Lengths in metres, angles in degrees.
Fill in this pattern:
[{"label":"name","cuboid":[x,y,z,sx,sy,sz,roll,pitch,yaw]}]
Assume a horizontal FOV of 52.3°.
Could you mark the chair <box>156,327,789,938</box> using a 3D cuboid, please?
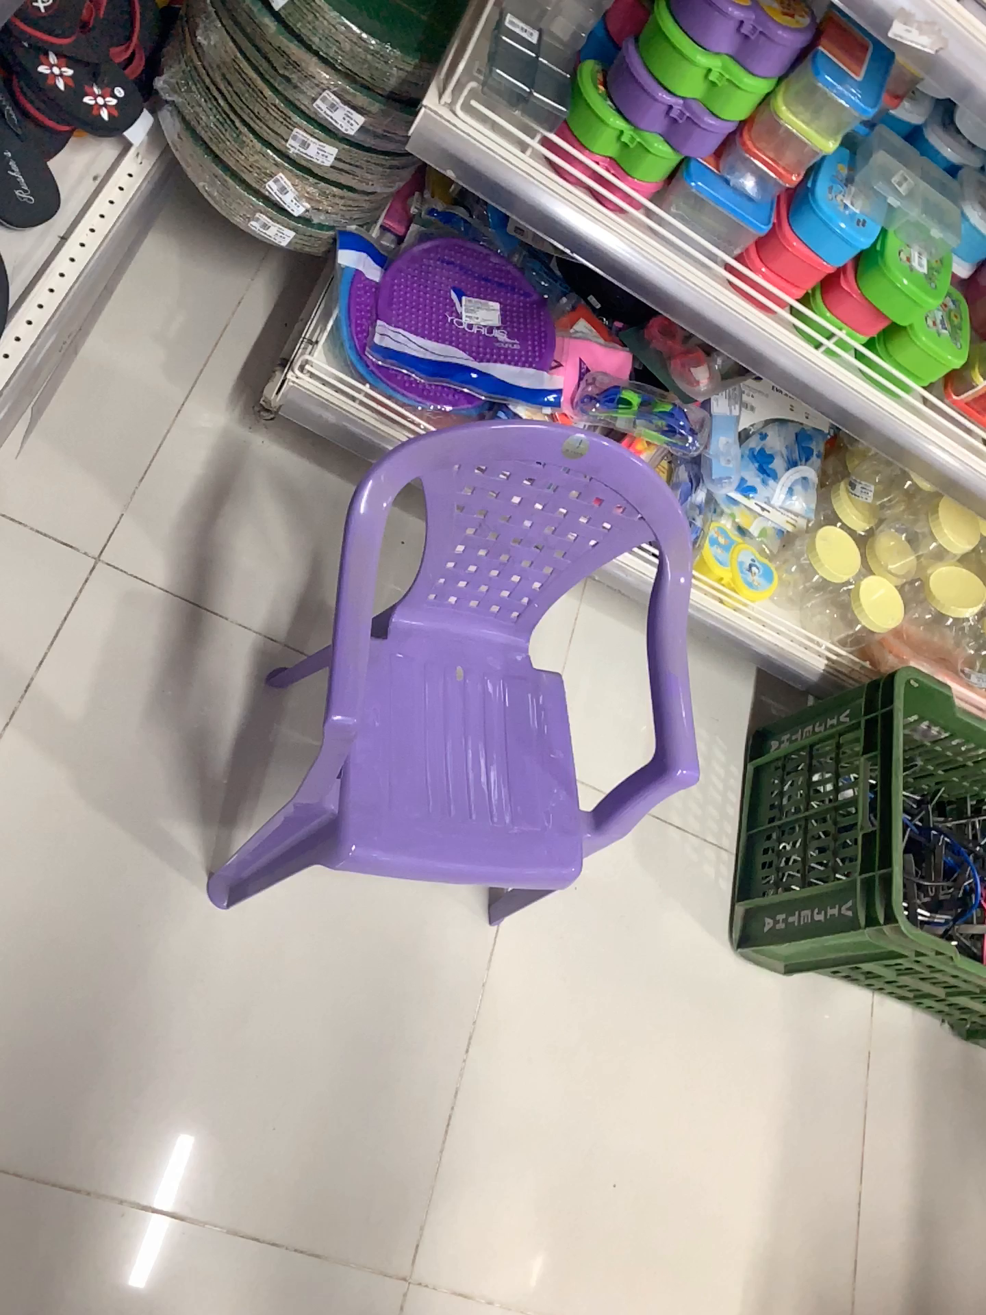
[{"label":"chair","cuboid":[-0.050,0.034,0.969,0.421,0.429,0.400,9,66,-25]}]
